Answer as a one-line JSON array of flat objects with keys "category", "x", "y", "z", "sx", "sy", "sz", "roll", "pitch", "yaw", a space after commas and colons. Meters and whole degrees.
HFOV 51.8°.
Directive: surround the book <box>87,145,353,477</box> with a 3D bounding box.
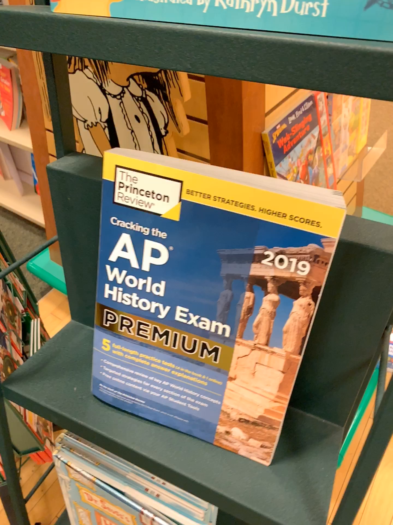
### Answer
[{"category": "book", "x": 0.003, "y": 0.044, "z": 0.390, "sx": 0.215, "sy": 0.269, "sz": 0.057, "roll": 15, "pitch": 24, "yaw": 18}]
